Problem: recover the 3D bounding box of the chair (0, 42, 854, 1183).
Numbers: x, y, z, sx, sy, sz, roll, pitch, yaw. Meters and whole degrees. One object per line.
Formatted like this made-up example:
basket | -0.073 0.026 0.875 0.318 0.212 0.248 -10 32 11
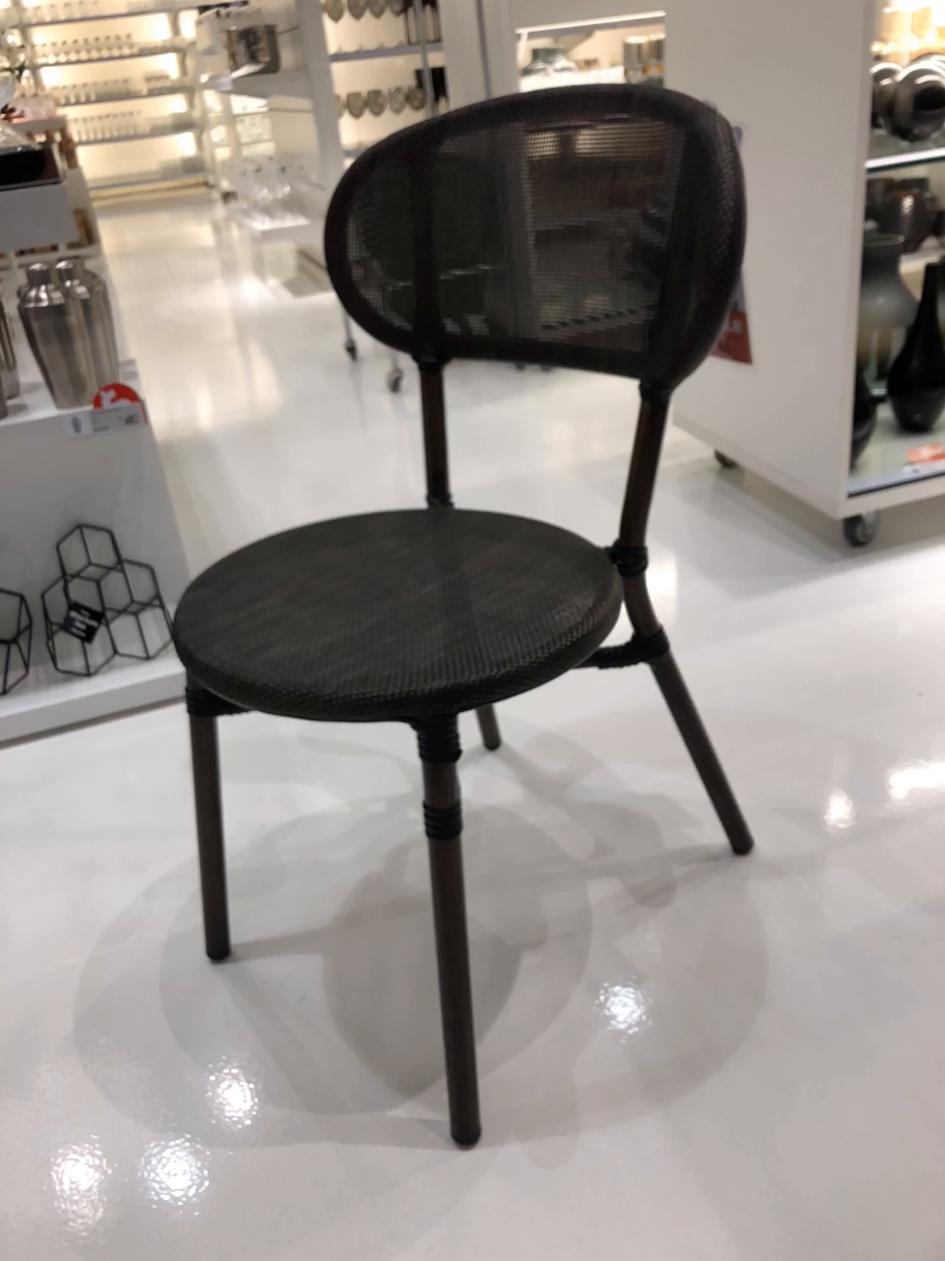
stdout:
chair | -0.015 -0.070 0.978 0.472 0.764 0.552 18 37 38
